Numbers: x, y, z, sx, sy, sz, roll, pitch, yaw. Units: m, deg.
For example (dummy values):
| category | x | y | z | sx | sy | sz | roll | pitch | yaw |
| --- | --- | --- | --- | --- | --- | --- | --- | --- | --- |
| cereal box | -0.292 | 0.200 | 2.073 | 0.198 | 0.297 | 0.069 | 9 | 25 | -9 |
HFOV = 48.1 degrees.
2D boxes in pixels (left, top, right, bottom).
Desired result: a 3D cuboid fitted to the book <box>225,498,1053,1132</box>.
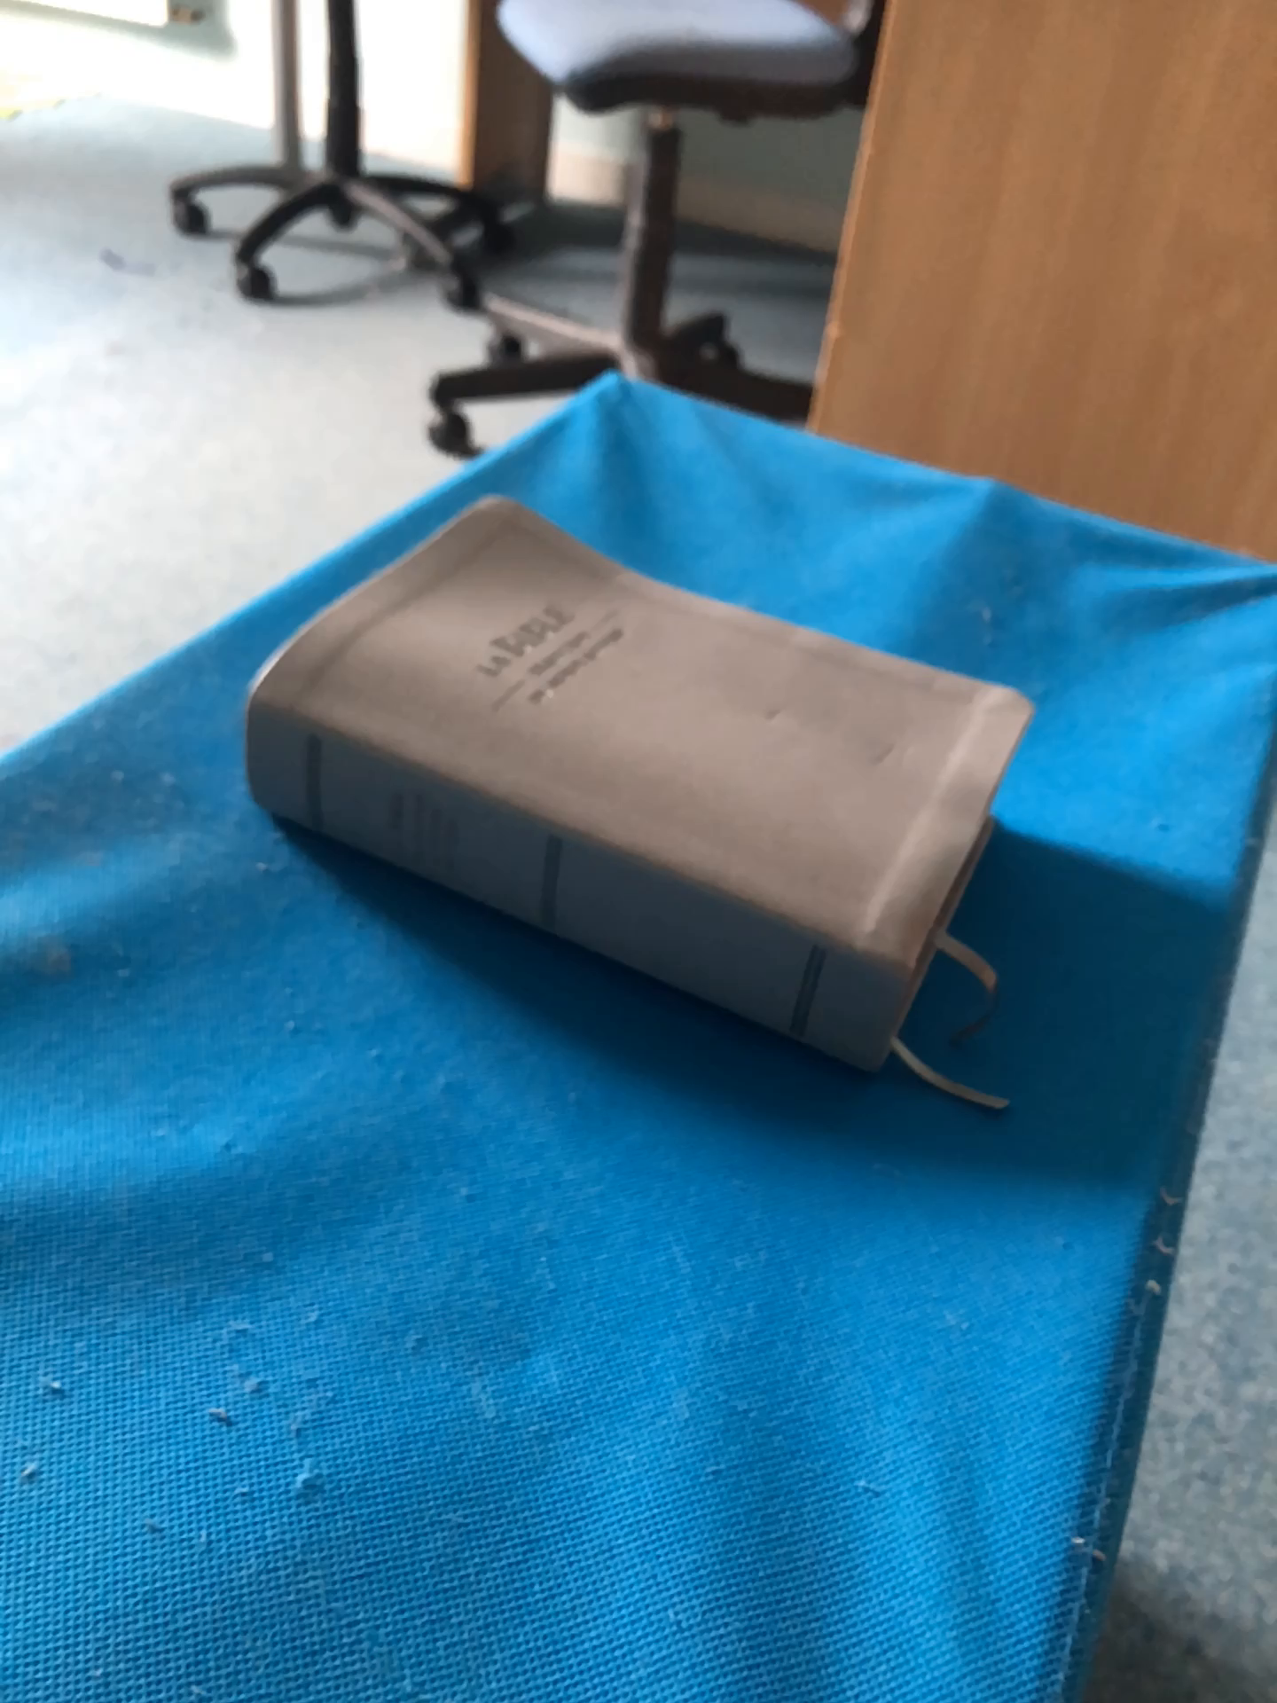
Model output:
| category | x | y | z | sx | sy | sz | roll | pitch | yaw |
| --- | --- | --- | --- | --- | --- | --- | --- | --- | --- |
| book | 0.003 | -0.021 | 0.384 | 0.180 | 0.051 | 0.122 | 23 | 42 | 14 |
